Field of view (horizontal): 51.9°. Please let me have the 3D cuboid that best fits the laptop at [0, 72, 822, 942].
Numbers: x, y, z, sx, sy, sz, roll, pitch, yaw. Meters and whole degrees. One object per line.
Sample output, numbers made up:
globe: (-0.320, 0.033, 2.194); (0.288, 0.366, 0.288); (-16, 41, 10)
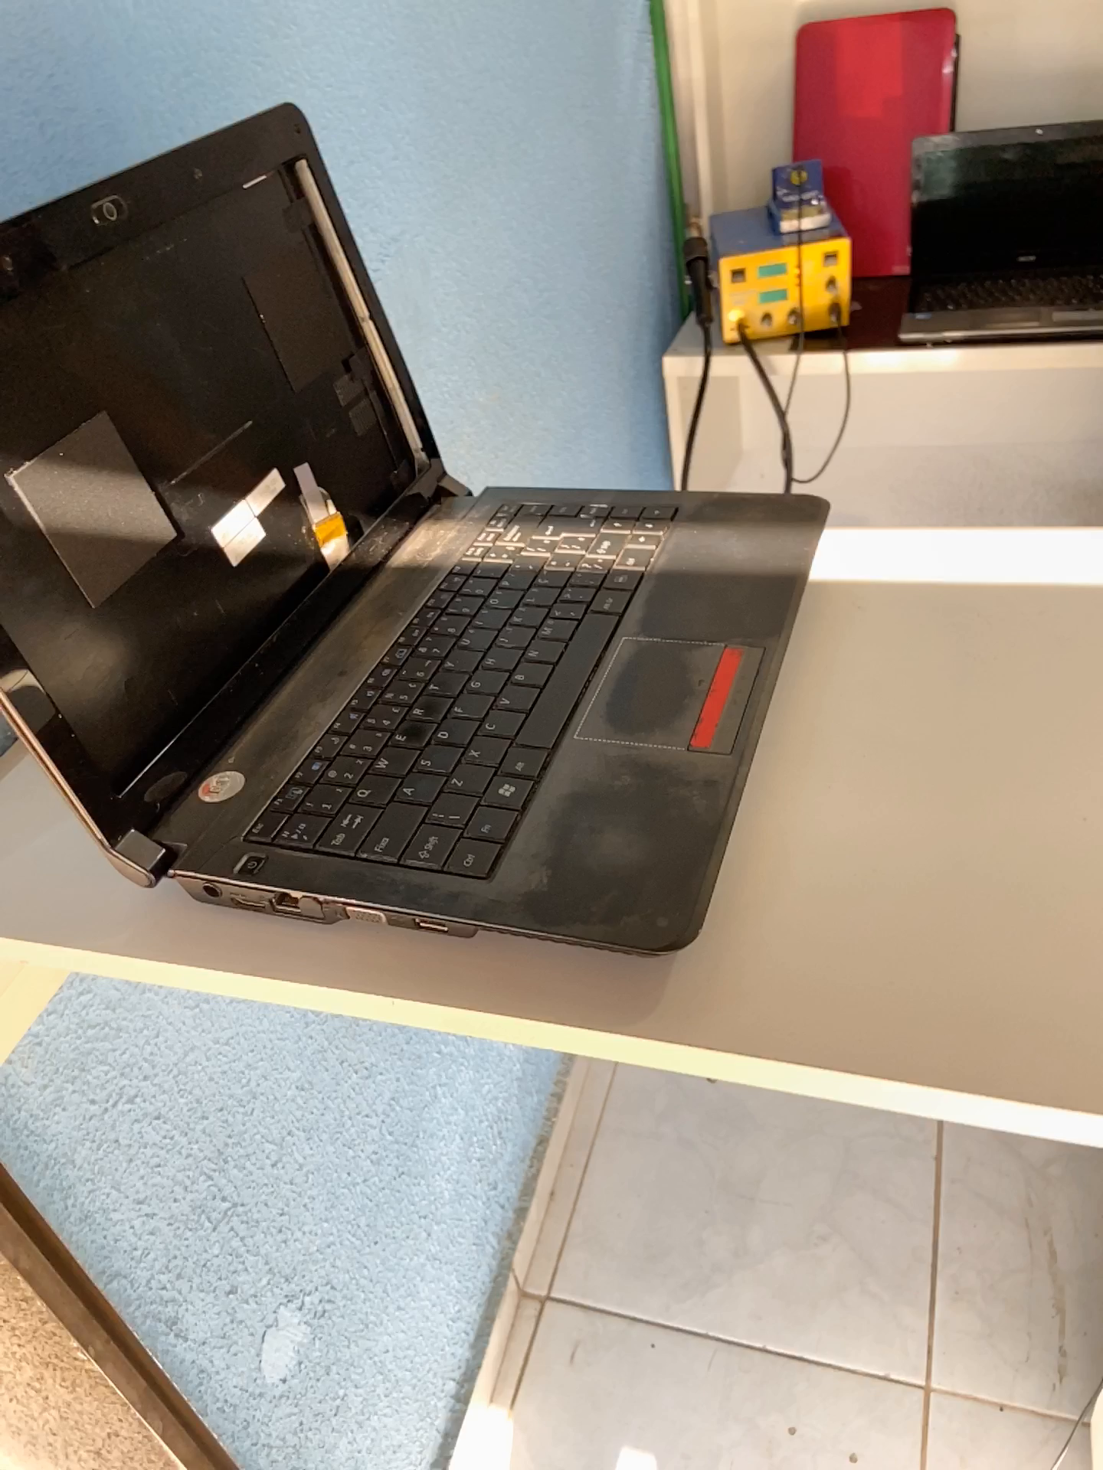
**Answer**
laptop: (-0.050, -0.126, 0.495); (0.276, 0.216, 0.336); (5, 38, 19)
